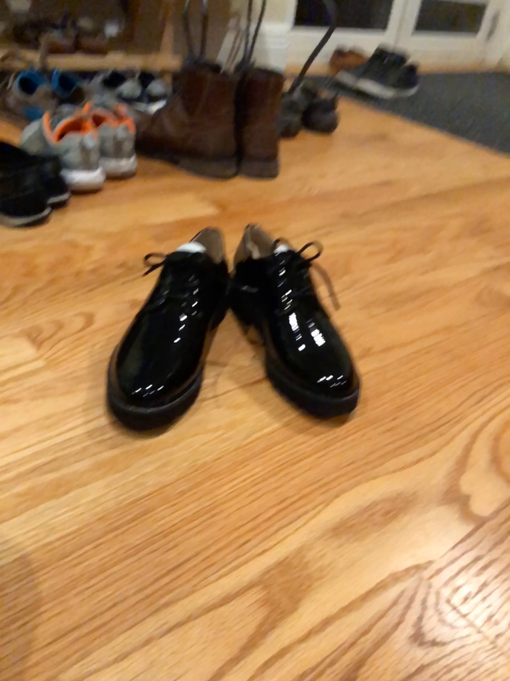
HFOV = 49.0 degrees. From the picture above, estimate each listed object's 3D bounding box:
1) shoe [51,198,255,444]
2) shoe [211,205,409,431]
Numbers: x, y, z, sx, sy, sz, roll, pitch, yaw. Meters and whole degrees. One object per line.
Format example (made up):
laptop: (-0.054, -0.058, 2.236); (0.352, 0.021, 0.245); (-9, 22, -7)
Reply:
shoe: (-0.080, -0.036, 0.533); (0.095, 0.101, 0.252); (13, 35, 7)
shoe: (0.037, -0.039, 0.569); (0.095, 0.101, 0.252); (-5, 37, -19)
